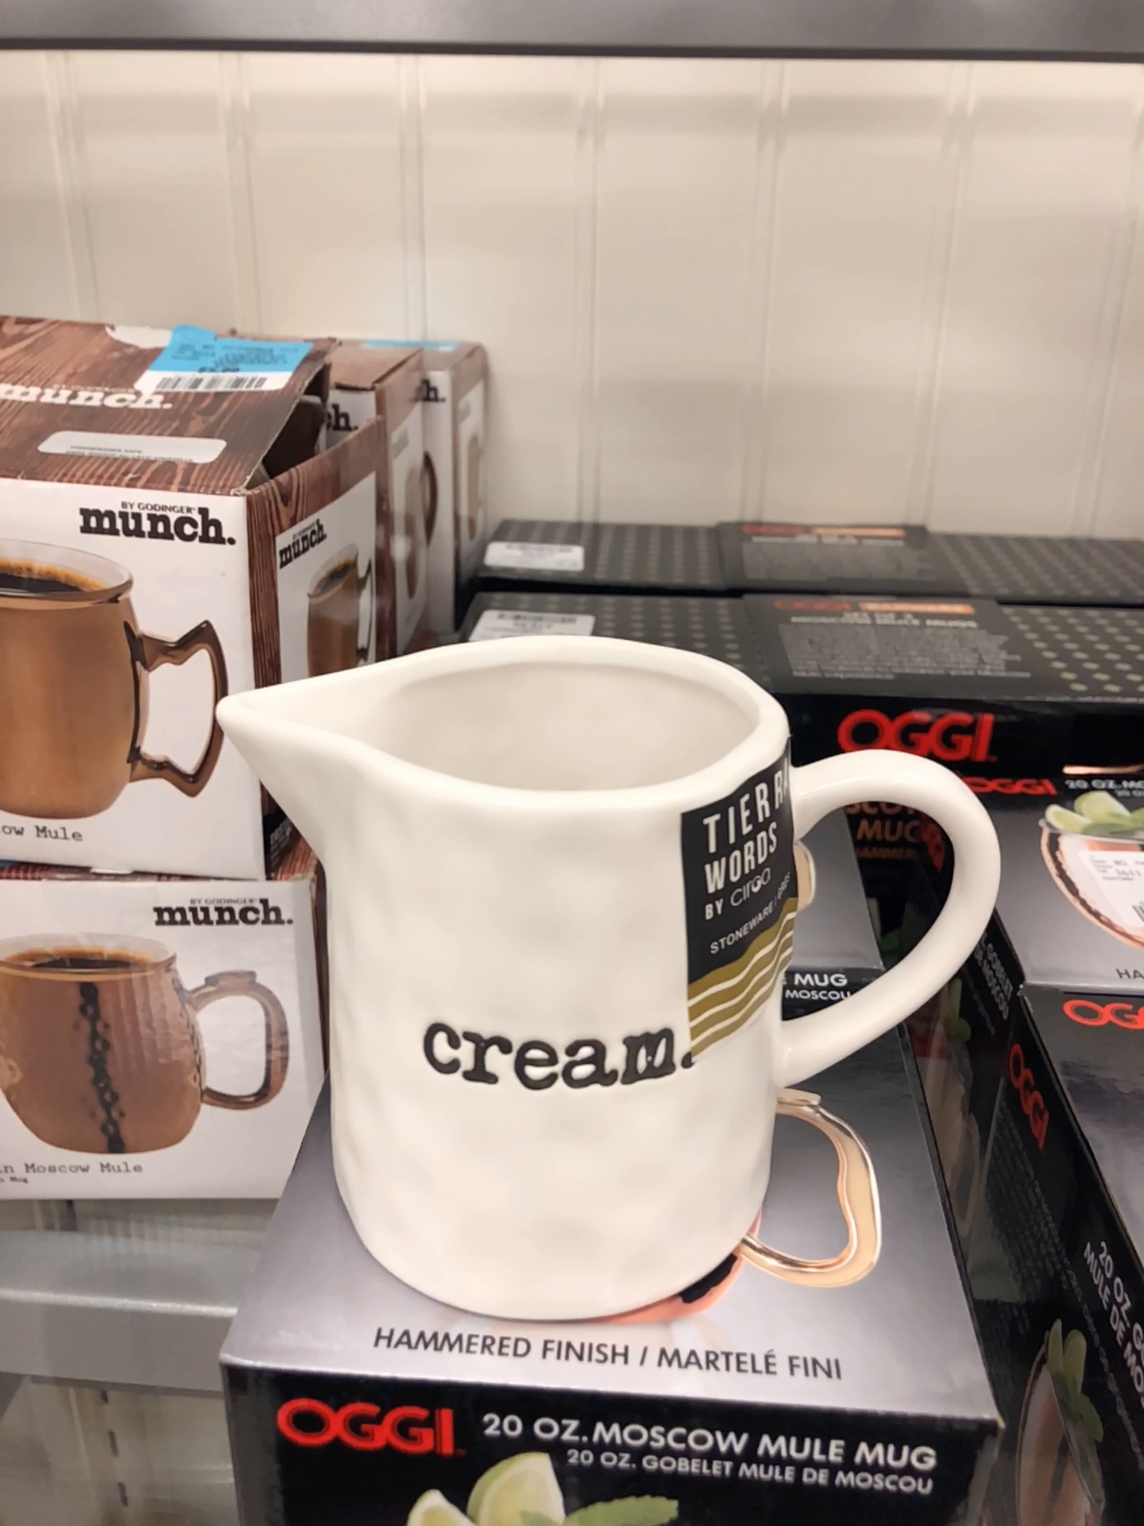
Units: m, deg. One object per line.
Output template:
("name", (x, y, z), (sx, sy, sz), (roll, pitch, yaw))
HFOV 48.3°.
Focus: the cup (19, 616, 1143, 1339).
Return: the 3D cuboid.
("cup", (0.001, 0.027, 0.185), (0.125, 0.080, 0.063), (0, 24, -2))
